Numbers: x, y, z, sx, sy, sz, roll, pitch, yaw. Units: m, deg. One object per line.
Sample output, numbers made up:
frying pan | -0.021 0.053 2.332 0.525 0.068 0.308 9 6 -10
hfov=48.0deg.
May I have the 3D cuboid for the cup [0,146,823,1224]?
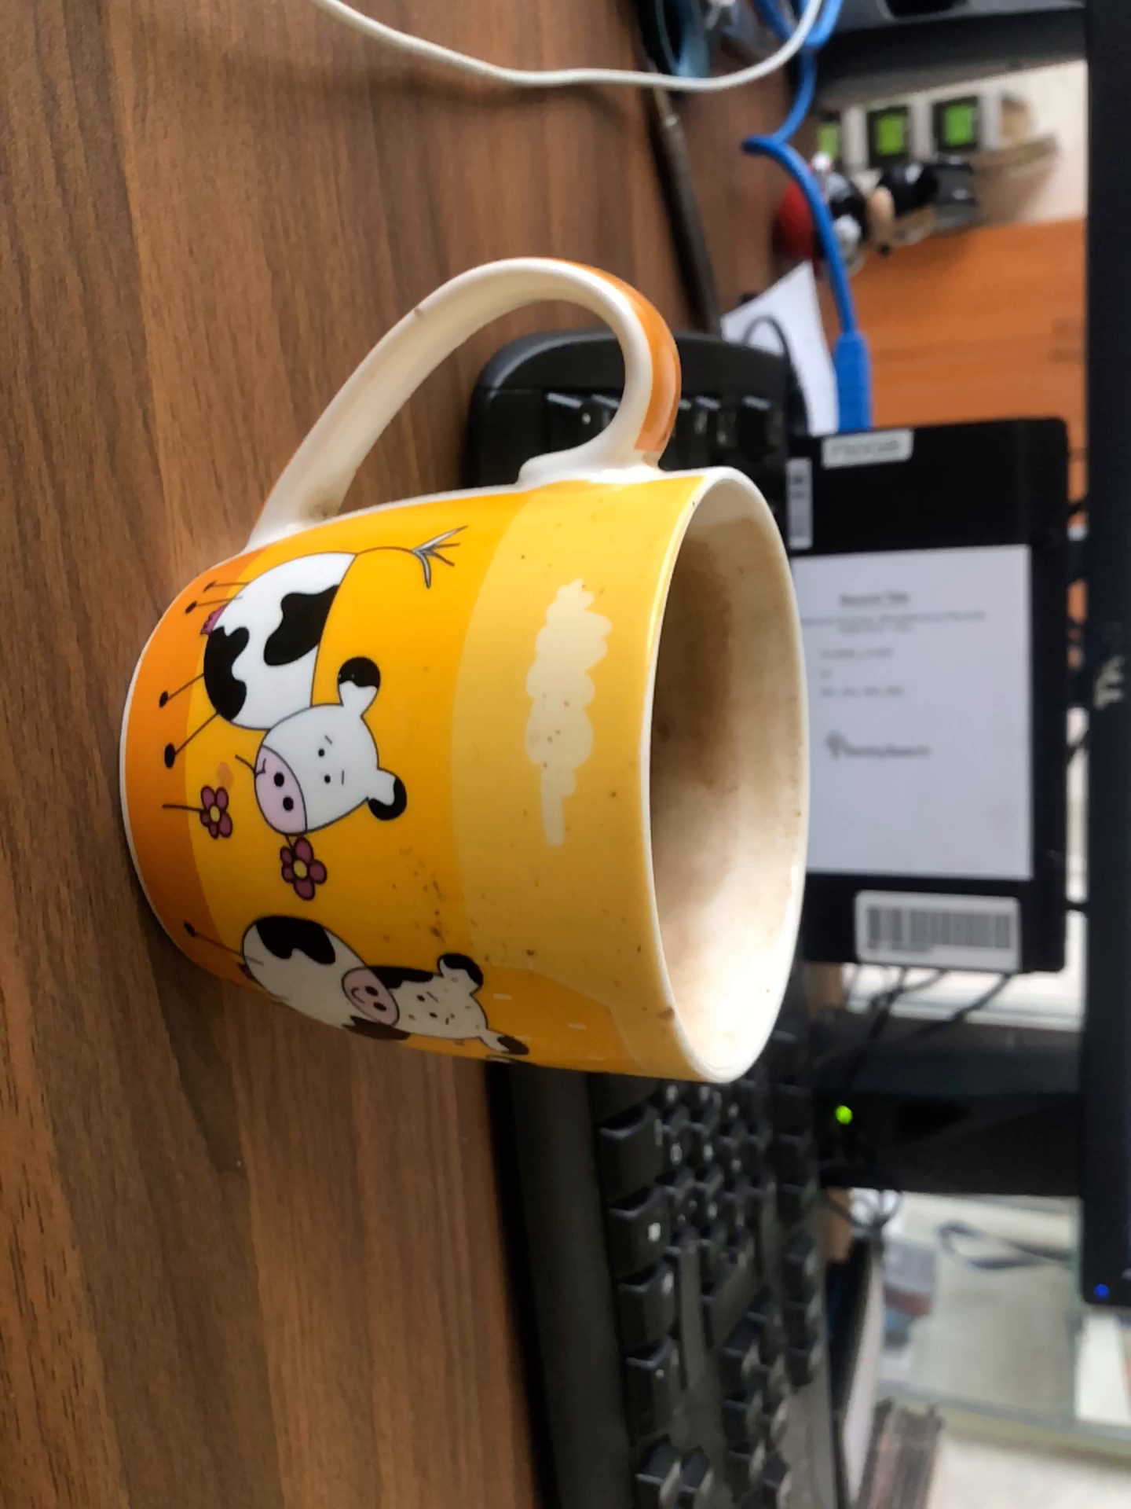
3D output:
cup | -0.016 -0.013 0.218 0.093 0.095 0.135 -25 113 -64
